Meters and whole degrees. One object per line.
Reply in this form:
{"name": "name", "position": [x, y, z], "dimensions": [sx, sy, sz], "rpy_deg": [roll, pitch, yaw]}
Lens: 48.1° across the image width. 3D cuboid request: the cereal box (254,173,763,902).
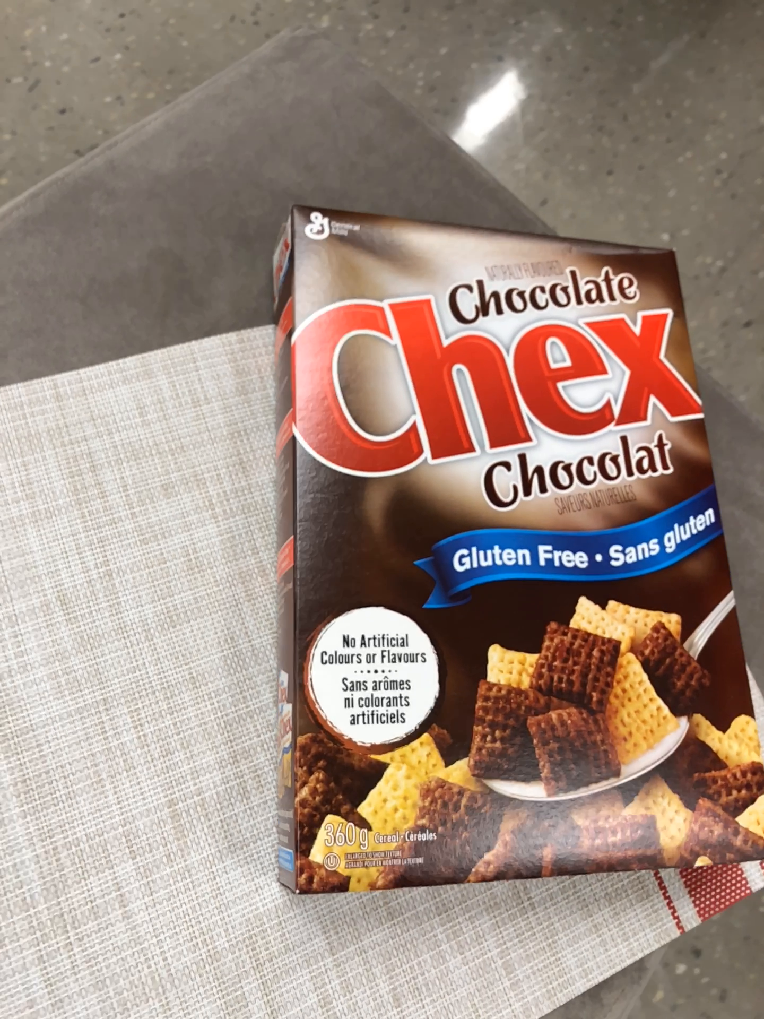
{"name": "cereal box", "position": [0.053, 0.003, 0.374], "dimensions": [0.210, 0.050, 0.290], "rpy_deg": [2, 71, -13]}
